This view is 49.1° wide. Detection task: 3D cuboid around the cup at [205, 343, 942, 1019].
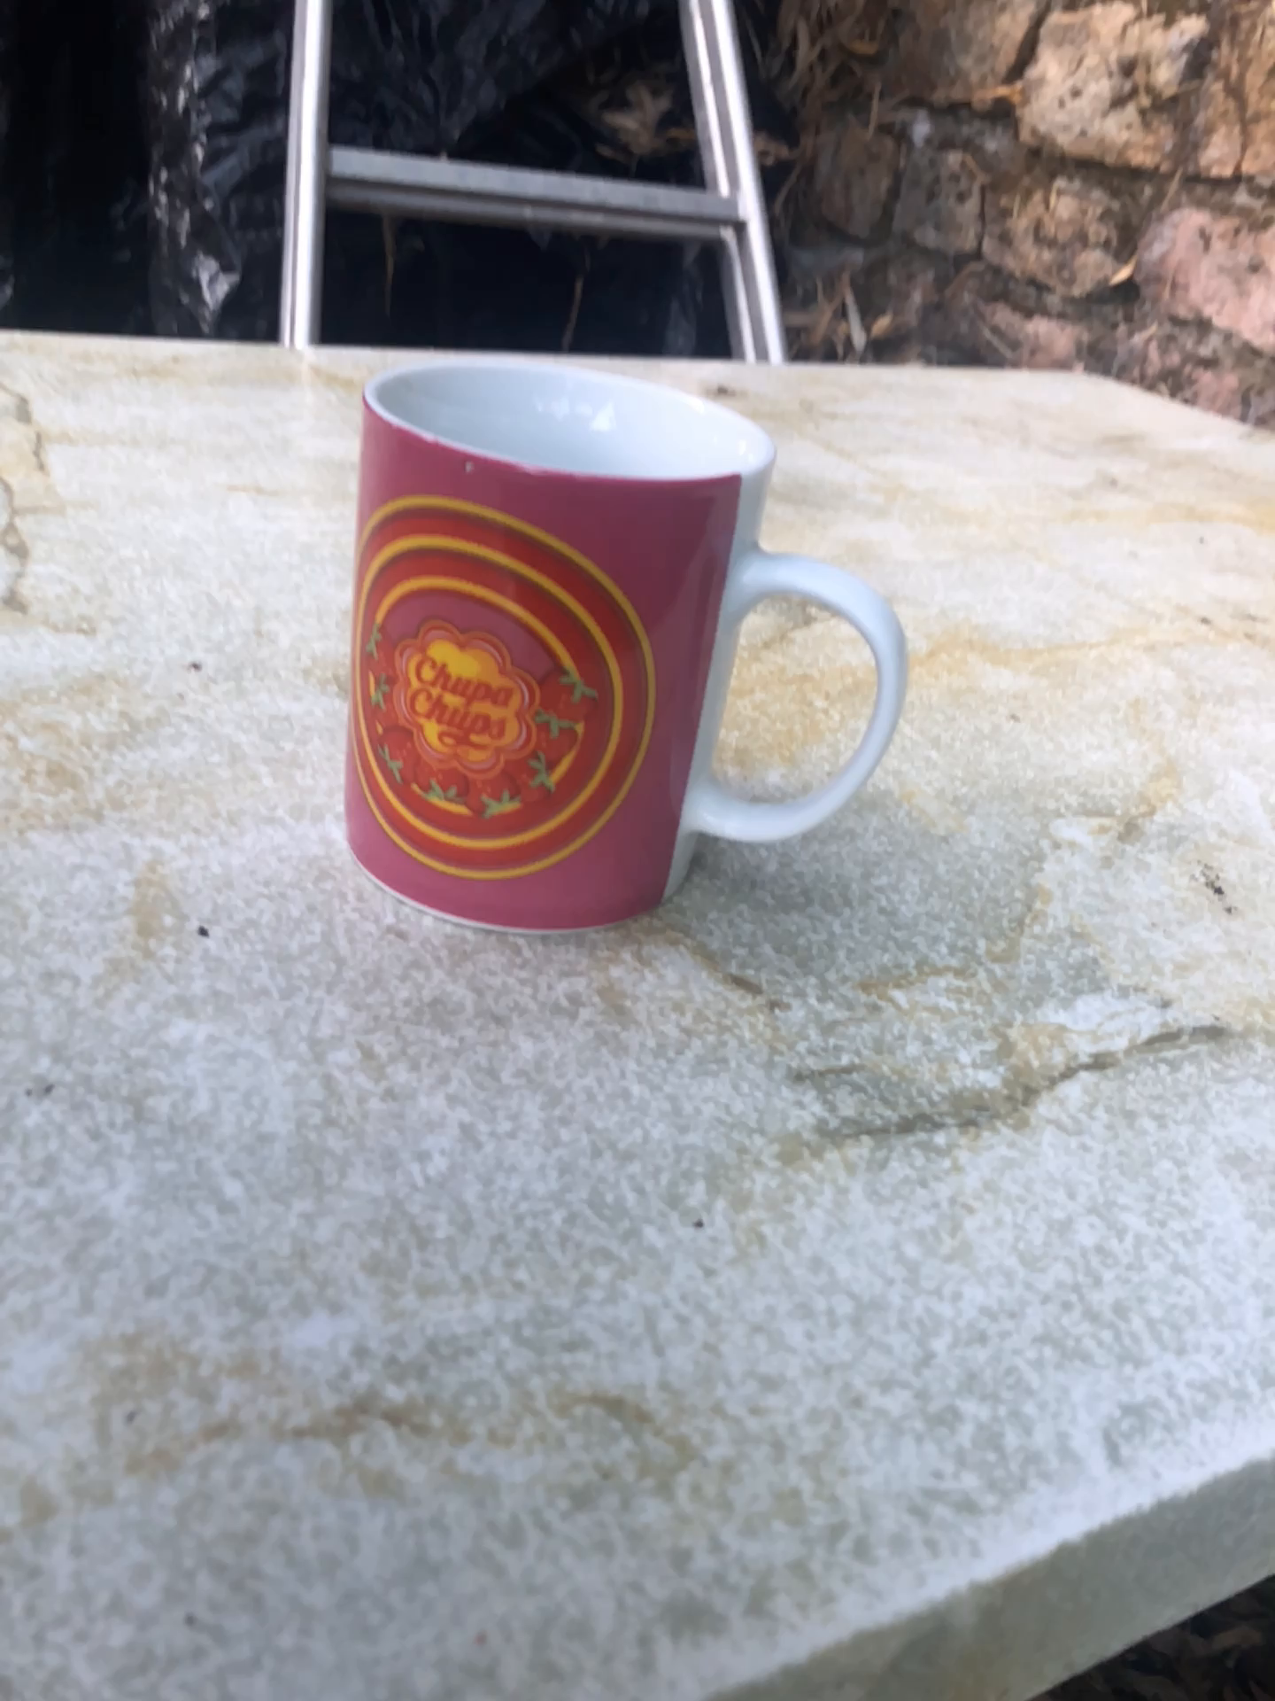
[{"bbox_3d":[-0.011,-0.039,0.276,0.116,0.089,0.077,15,30,12],"label":"cup"}]
